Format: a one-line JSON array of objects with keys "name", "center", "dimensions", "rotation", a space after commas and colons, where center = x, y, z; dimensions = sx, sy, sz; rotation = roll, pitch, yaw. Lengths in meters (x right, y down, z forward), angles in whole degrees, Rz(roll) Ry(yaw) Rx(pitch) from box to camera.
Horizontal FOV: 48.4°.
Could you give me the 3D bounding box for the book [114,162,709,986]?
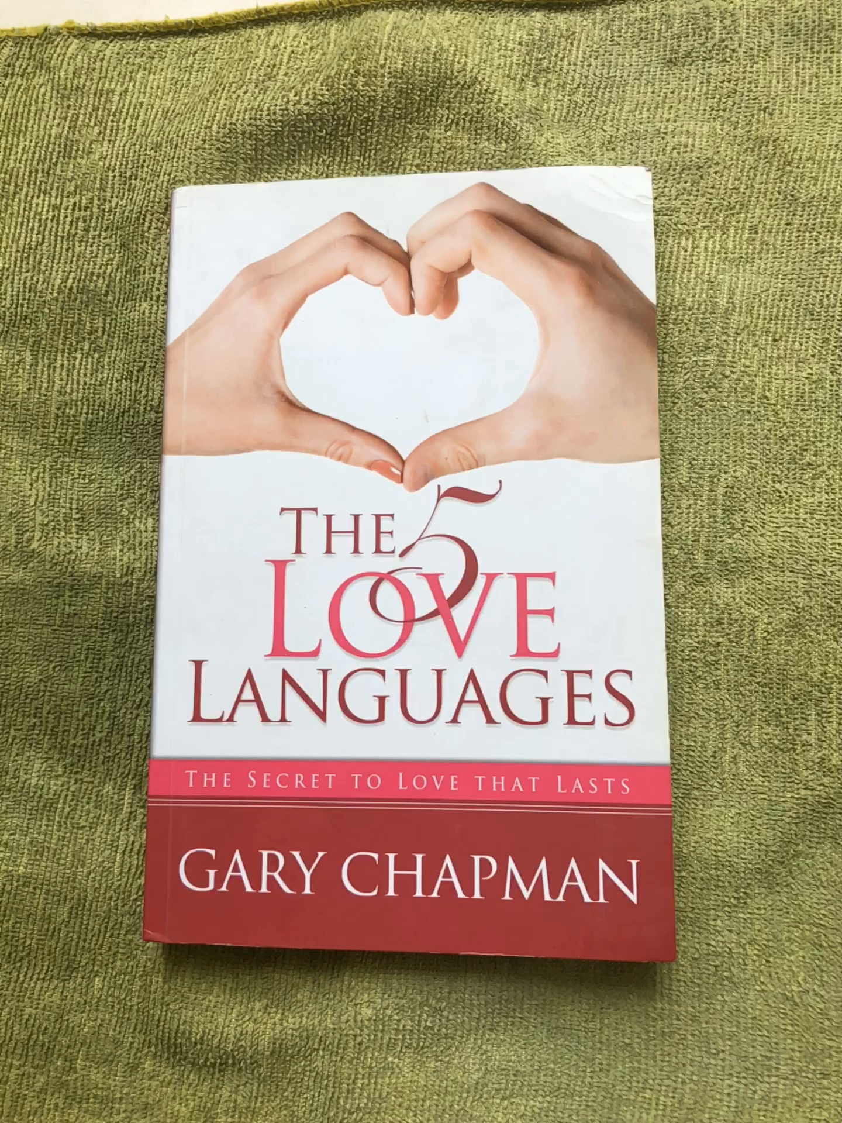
[{"name": "book", "center": [-0.003, 0.000, 0.247], "dimensions": [0.140, 0.030, 0.200], "rotation": [-1, 83, 5]}]
